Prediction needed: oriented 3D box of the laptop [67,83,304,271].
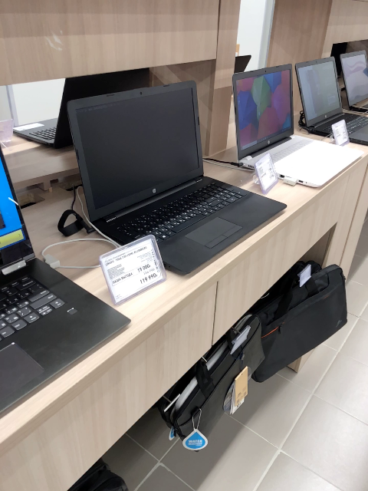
[{"bbox_3d":[0.011,-0.175,0.839,0.297,0.222,0.359,26,37,32],"label":"laptop"}]
